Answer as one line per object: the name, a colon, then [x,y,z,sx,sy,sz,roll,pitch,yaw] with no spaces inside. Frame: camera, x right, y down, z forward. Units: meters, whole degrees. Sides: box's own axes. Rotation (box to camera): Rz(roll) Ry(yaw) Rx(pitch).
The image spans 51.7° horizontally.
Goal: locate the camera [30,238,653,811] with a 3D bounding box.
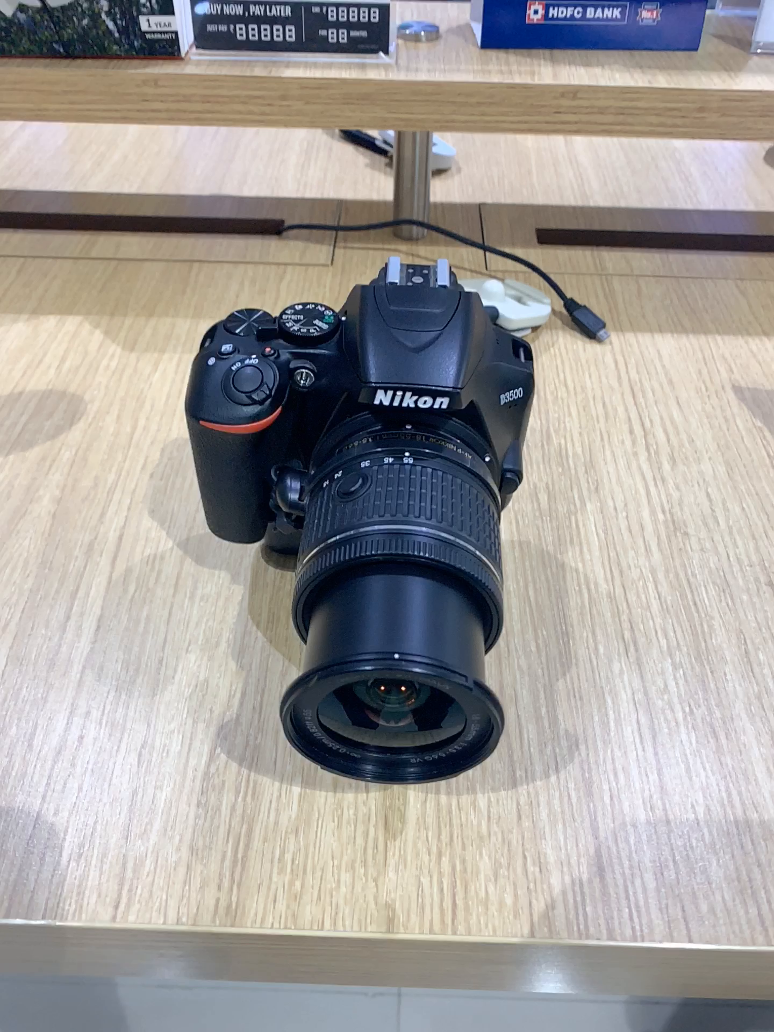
camera: [-0.008,-0.002,0.229,0.117,0.095,0.131,2,46,0]
